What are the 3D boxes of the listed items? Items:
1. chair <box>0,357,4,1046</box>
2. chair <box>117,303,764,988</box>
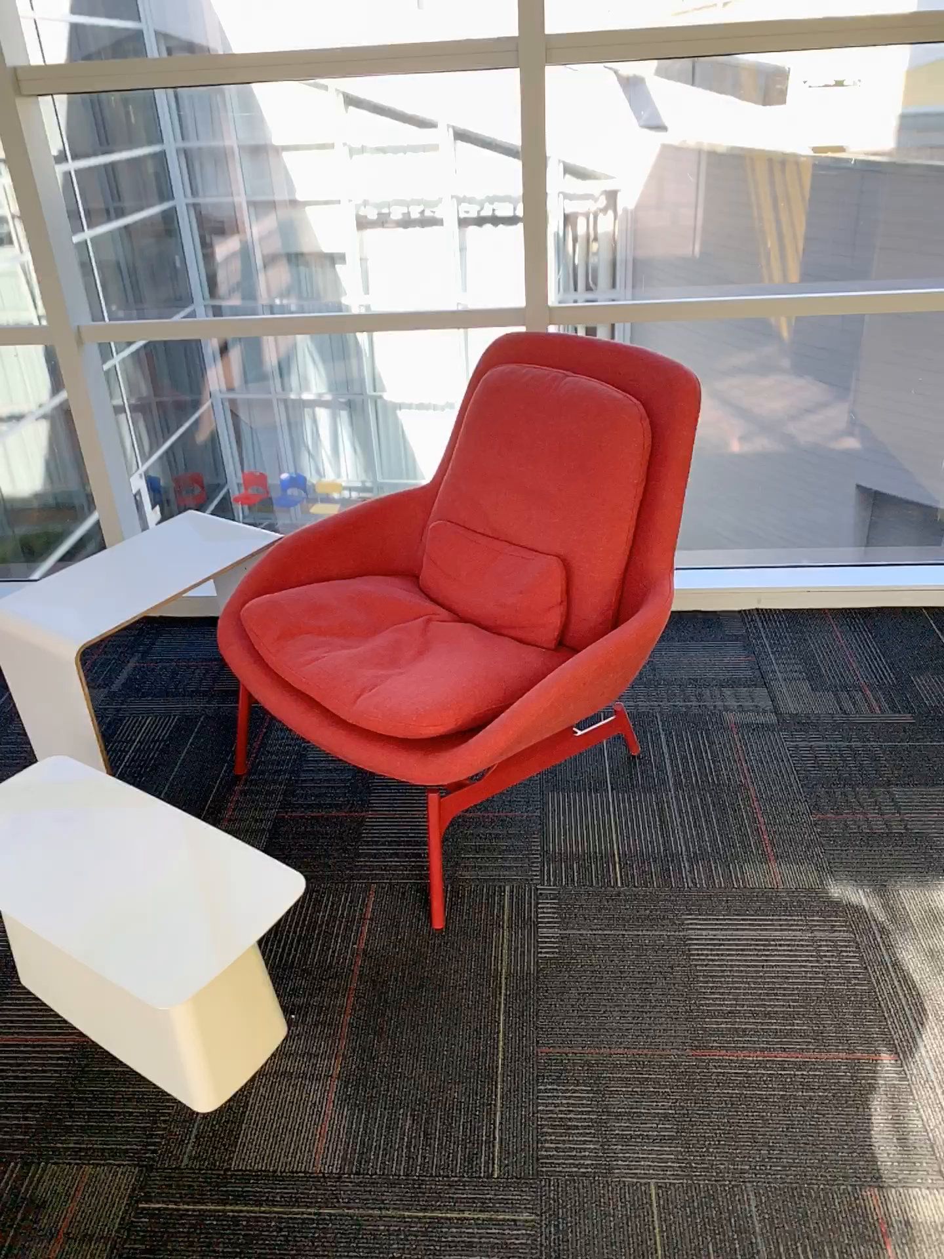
[{"bbox_3d":[-1.826,0.071,2.163,0.823,1.054,0.872,20,37,35],"label":"chair"},{"bbox_3d":[-0.026,-0.073,2.117,0.874,0.994,0.922,22,38,37],"label":"chair"}]
